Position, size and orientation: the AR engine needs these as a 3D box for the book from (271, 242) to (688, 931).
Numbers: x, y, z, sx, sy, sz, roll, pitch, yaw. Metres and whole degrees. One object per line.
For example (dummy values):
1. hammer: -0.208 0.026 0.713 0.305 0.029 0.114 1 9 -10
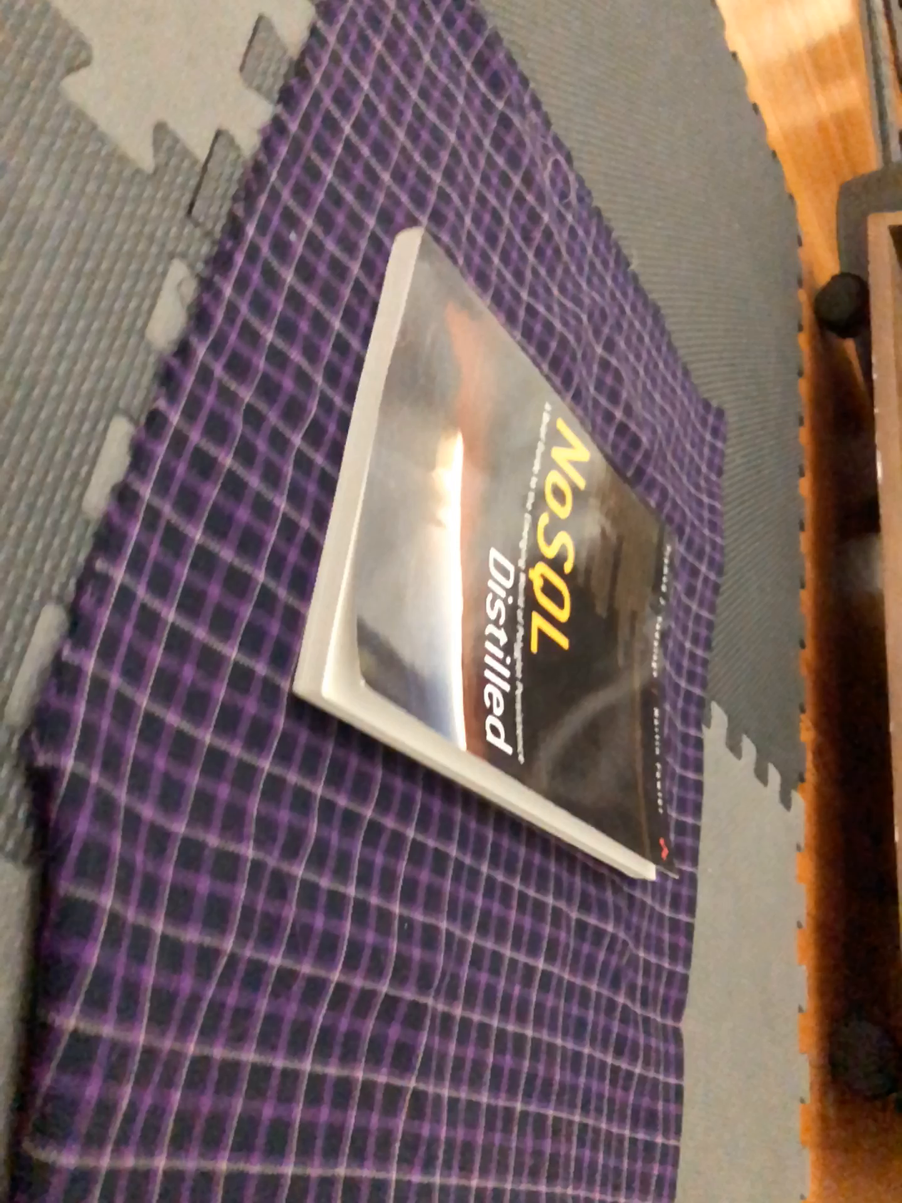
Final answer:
1. book: 0.038 0.013 0.409 0.251 0.020 0.190 38 52 -47
